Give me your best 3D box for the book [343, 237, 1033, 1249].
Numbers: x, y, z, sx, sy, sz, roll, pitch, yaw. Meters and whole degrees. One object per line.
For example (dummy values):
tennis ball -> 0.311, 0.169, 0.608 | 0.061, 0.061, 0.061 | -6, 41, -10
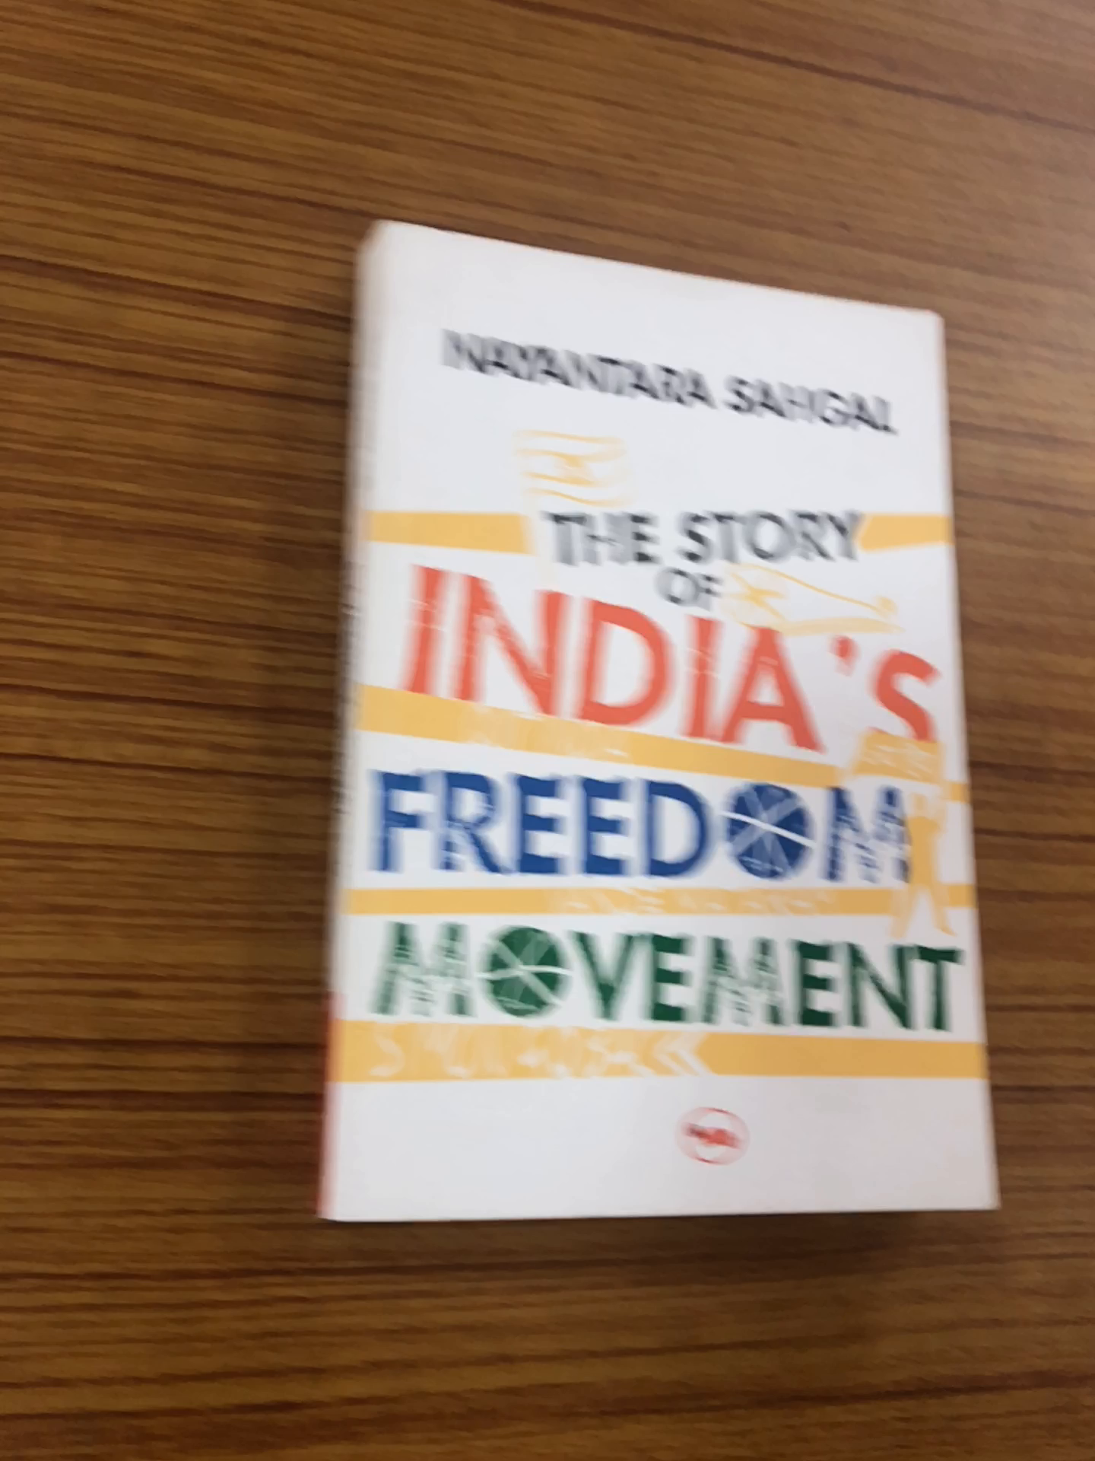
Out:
book -> 0.030, 0.002, 0.257 | 0.130, 0.030, 0.190 | 4, 78, -14
